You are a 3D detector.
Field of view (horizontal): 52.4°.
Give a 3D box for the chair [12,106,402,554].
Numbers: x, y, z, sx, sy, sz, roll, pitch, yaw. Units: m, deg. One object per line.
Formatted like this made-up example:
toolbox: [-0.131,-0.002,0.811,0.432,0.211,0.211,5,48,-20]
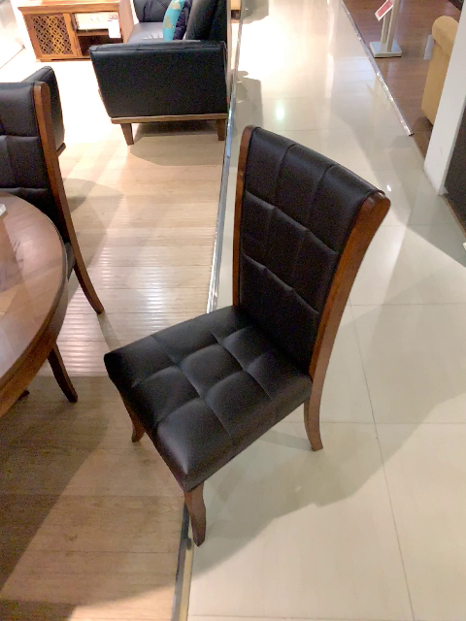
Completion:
chair: [-0.046,0.076,1.286,0.600,0.936,0.532,-28,49,-23]
